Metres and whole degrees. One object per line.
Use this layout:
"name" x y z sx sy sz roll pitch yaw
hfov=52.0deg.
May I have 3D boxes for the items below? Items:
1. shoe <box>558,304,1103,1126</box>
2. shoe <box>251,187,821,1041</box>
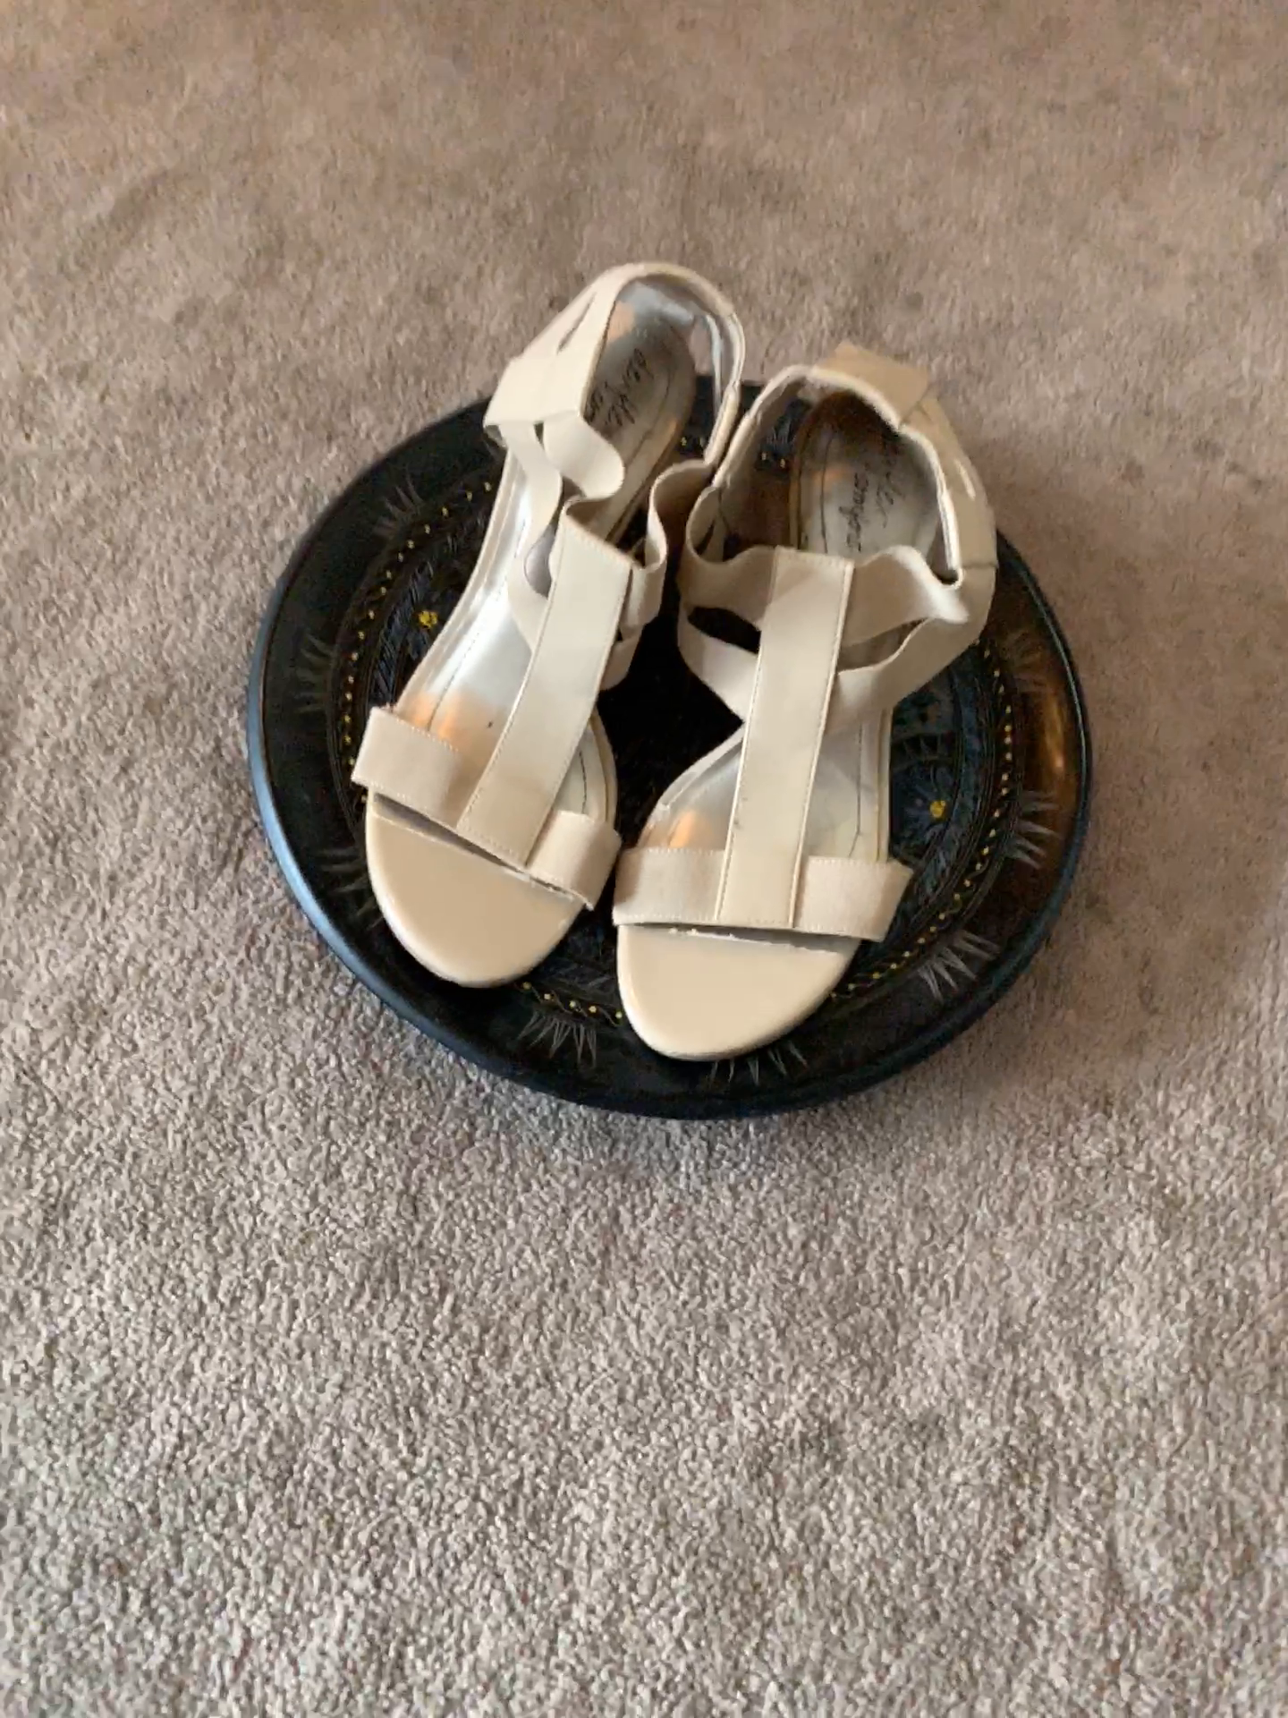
"shoe" 0.055 -0.040 0.417 0.090 0.090 0.220 19 83 2
"shoe" -0.033 -0.070 0.424 0.100 0.090 0.230 18 83 -7
